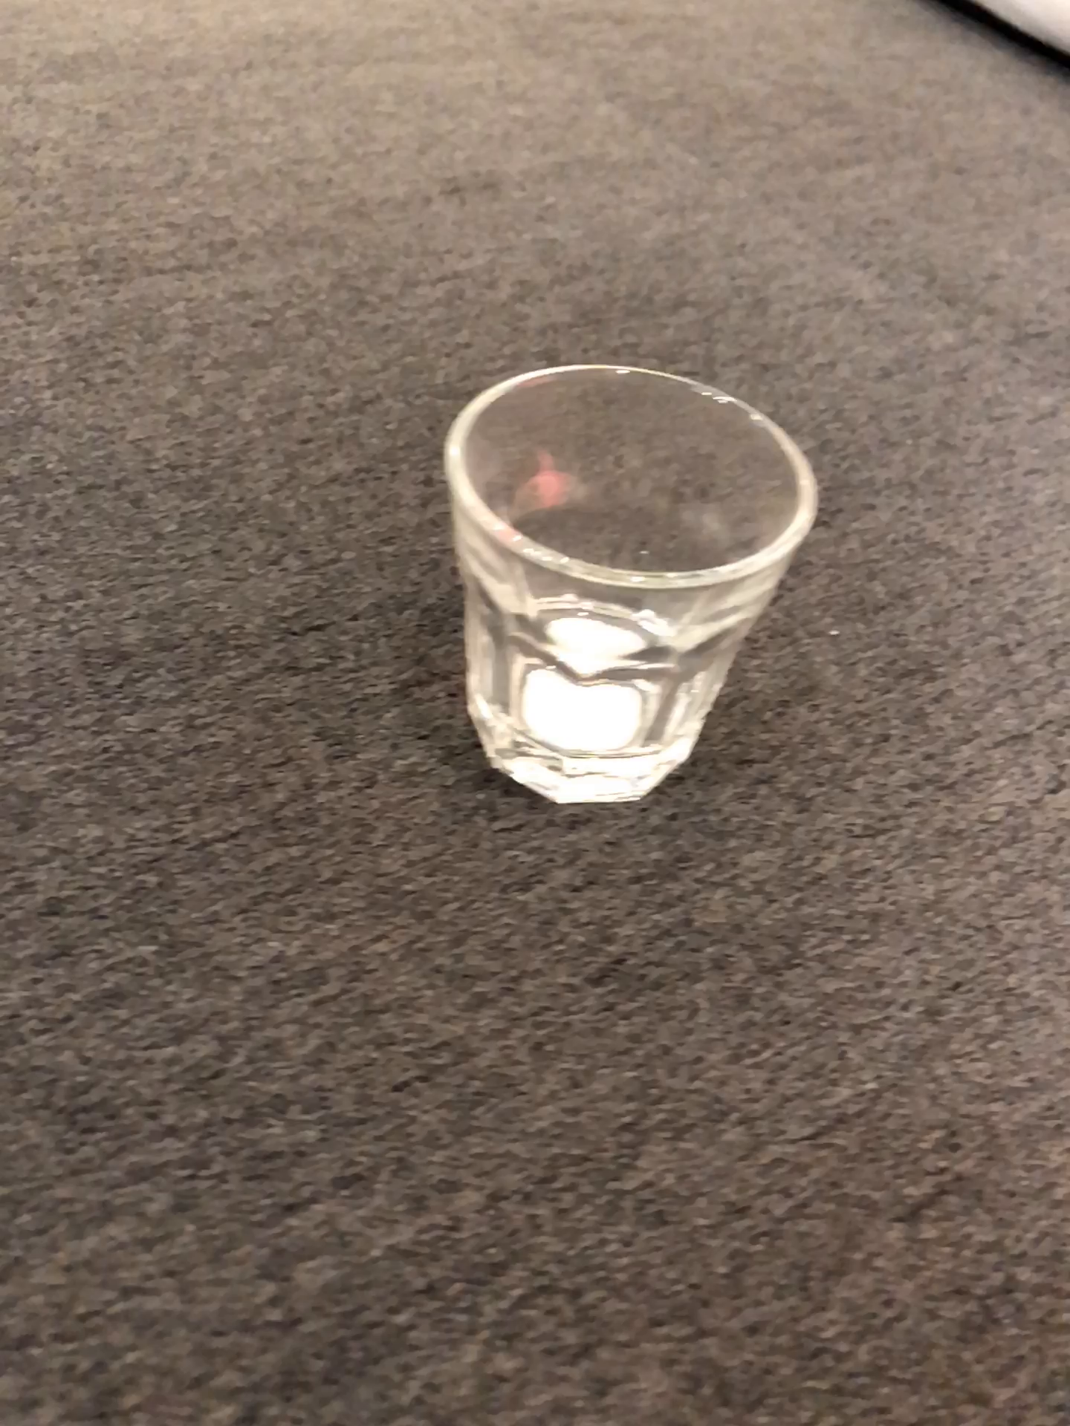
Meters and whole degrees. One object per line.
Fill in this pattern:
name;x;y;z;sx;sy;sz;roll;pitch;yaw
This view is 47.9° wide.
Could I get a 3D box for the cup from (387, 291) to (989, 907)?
cup;0.021;-0.020;0.182;0.060;0.050;0.060;6;45;-6
